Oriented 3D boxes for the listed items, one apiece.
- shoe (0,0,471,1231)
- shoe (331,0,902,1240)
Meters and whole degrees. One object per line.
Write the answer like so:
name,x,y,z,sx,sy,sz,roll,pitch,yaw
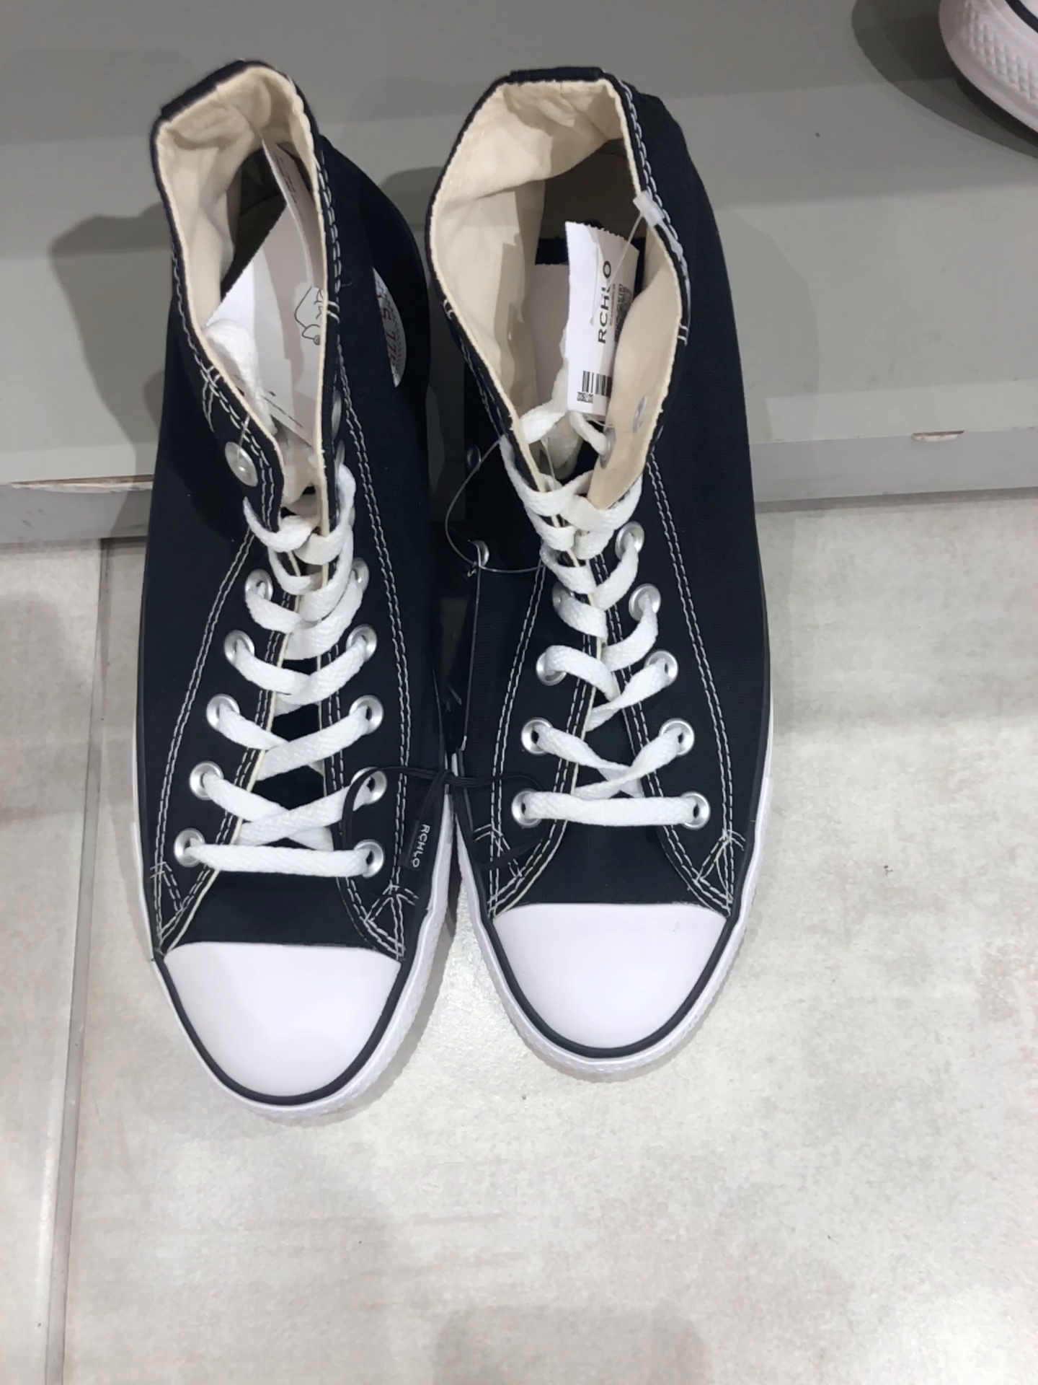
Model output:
shoe,-0.080,-0.025,0.349,0.120,0.140,0.310,0,95,1
shoe,0.026,-0.041,0.333,0.120,0.140,0.330,-2,95,1
